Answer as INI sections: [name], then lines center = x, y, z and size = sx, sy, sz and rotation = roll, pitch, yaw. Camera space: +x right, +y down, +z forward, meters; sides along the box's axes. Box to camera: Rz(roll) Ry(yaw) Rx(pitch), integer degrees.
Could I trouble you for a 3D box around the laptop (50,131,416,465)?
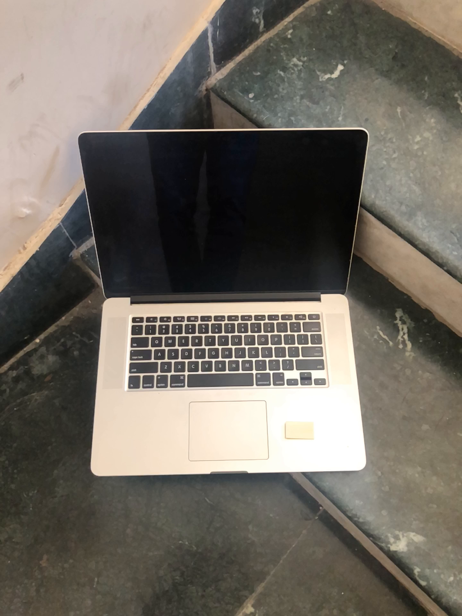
[laptop]
center = -0.004, -0.006, 0.633
size = 0.341, 0.194, 0.364
rotation = -1, 68, -1
